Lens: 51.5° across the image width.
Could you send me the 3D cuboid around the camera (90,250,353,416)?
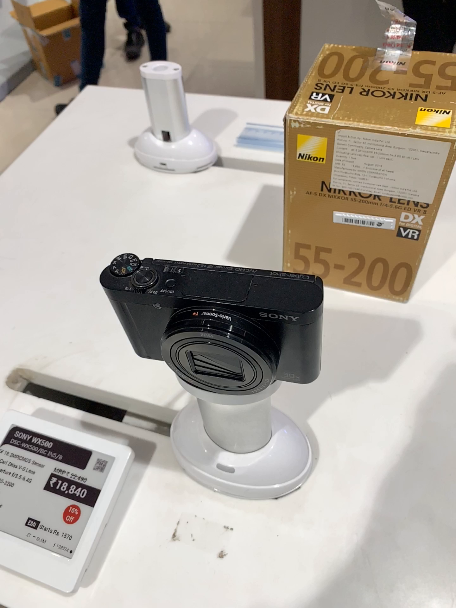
[{"bbox_3d":[-0.001,0.013,0.209,0.100,0.060,0.030,8,53,13],"label":"camera"}]
